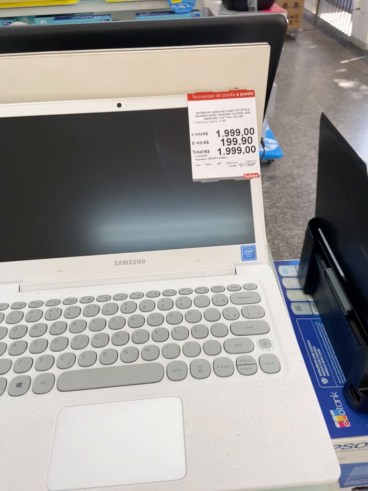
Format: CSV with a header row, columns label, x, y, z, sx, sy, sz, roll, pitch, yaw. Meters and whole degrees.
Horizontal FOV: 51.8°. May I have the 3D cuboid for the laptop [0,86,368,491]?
label,x,y,z,sx,sy,sz,roll,pitch,yaw
laptop,-0.060,0.000,0.350,0.314,0.140,0.362,-4,42,-2
